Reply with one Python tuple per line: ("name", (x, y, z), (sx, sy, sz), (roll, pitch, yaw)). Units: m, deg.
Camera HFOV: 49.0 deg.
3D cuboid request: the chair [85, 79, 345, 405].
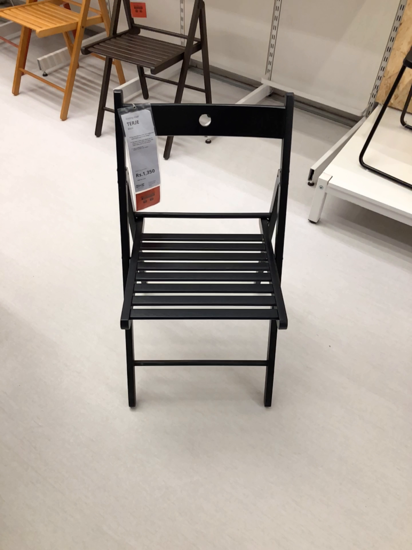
("chair", (0.005, -0.044, 1.196), (0.440, 0.726, 0.483), (1, 49, -1))
